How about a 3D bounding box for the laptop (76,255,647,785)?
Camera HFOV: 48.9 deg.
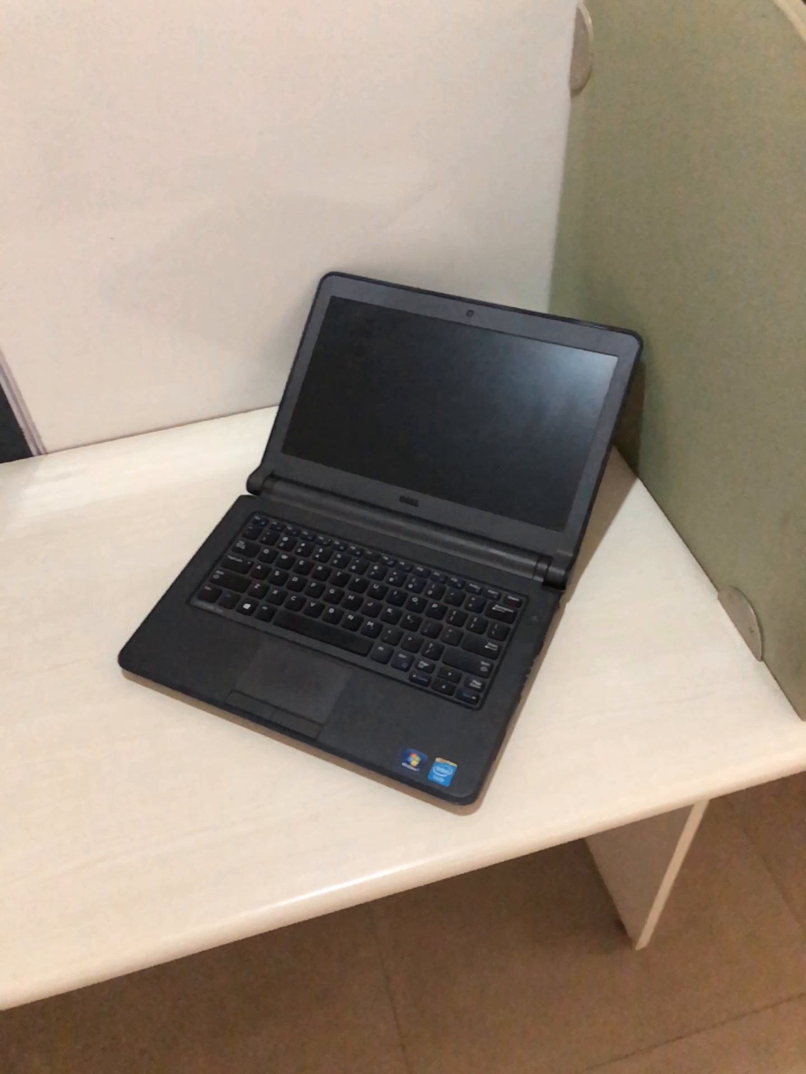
[{"bbox_3d":[-0.012,-0.050,0.749,0.309,0.128,0.396,17,53,21],"label":"laptop"}]
